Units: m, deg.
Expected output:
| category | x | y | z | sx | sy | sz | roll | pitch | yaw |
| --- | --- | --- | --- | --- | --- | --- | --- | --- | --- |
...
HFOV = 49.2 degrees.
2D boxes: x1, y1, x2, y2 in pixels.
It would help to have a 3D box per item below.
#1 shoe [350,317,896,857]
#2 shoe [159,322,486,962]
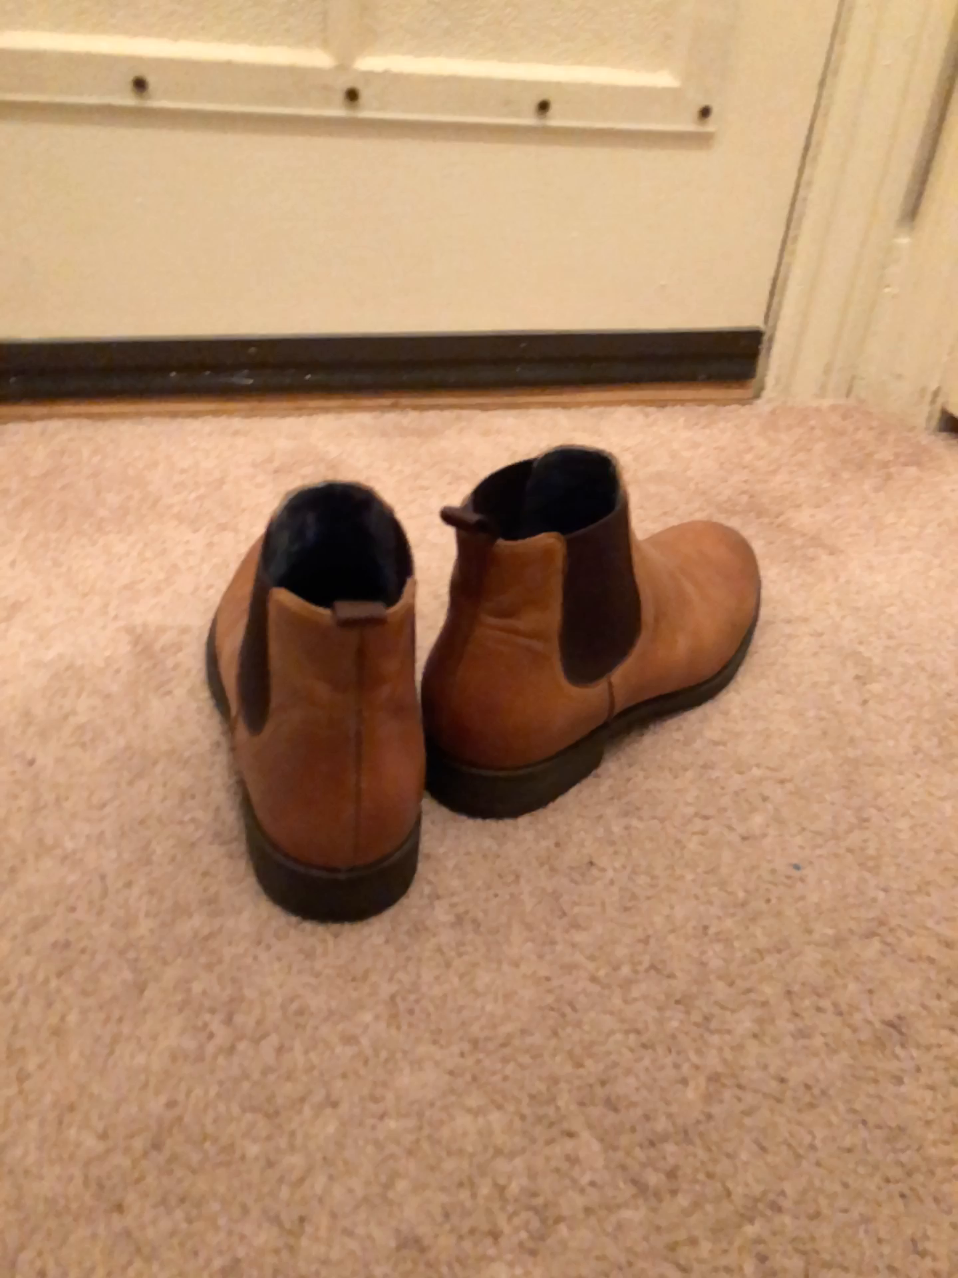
| category | x | y | z | sx | sy | sz | roll | pitch | yaw |
| --- | --- | --- | --- | --- | --- | --- | --- | --- | --- |
| shoe | 0.085 | -0.050 | 0.565 | 0.109 | 0.165 | 0.313 | 30 | 41 | 31 |
| shoe | -0.087 | -0.026 | 0.524 | 0.109 | 0.165 | 0.314 | -3 | 35 | -12 |
